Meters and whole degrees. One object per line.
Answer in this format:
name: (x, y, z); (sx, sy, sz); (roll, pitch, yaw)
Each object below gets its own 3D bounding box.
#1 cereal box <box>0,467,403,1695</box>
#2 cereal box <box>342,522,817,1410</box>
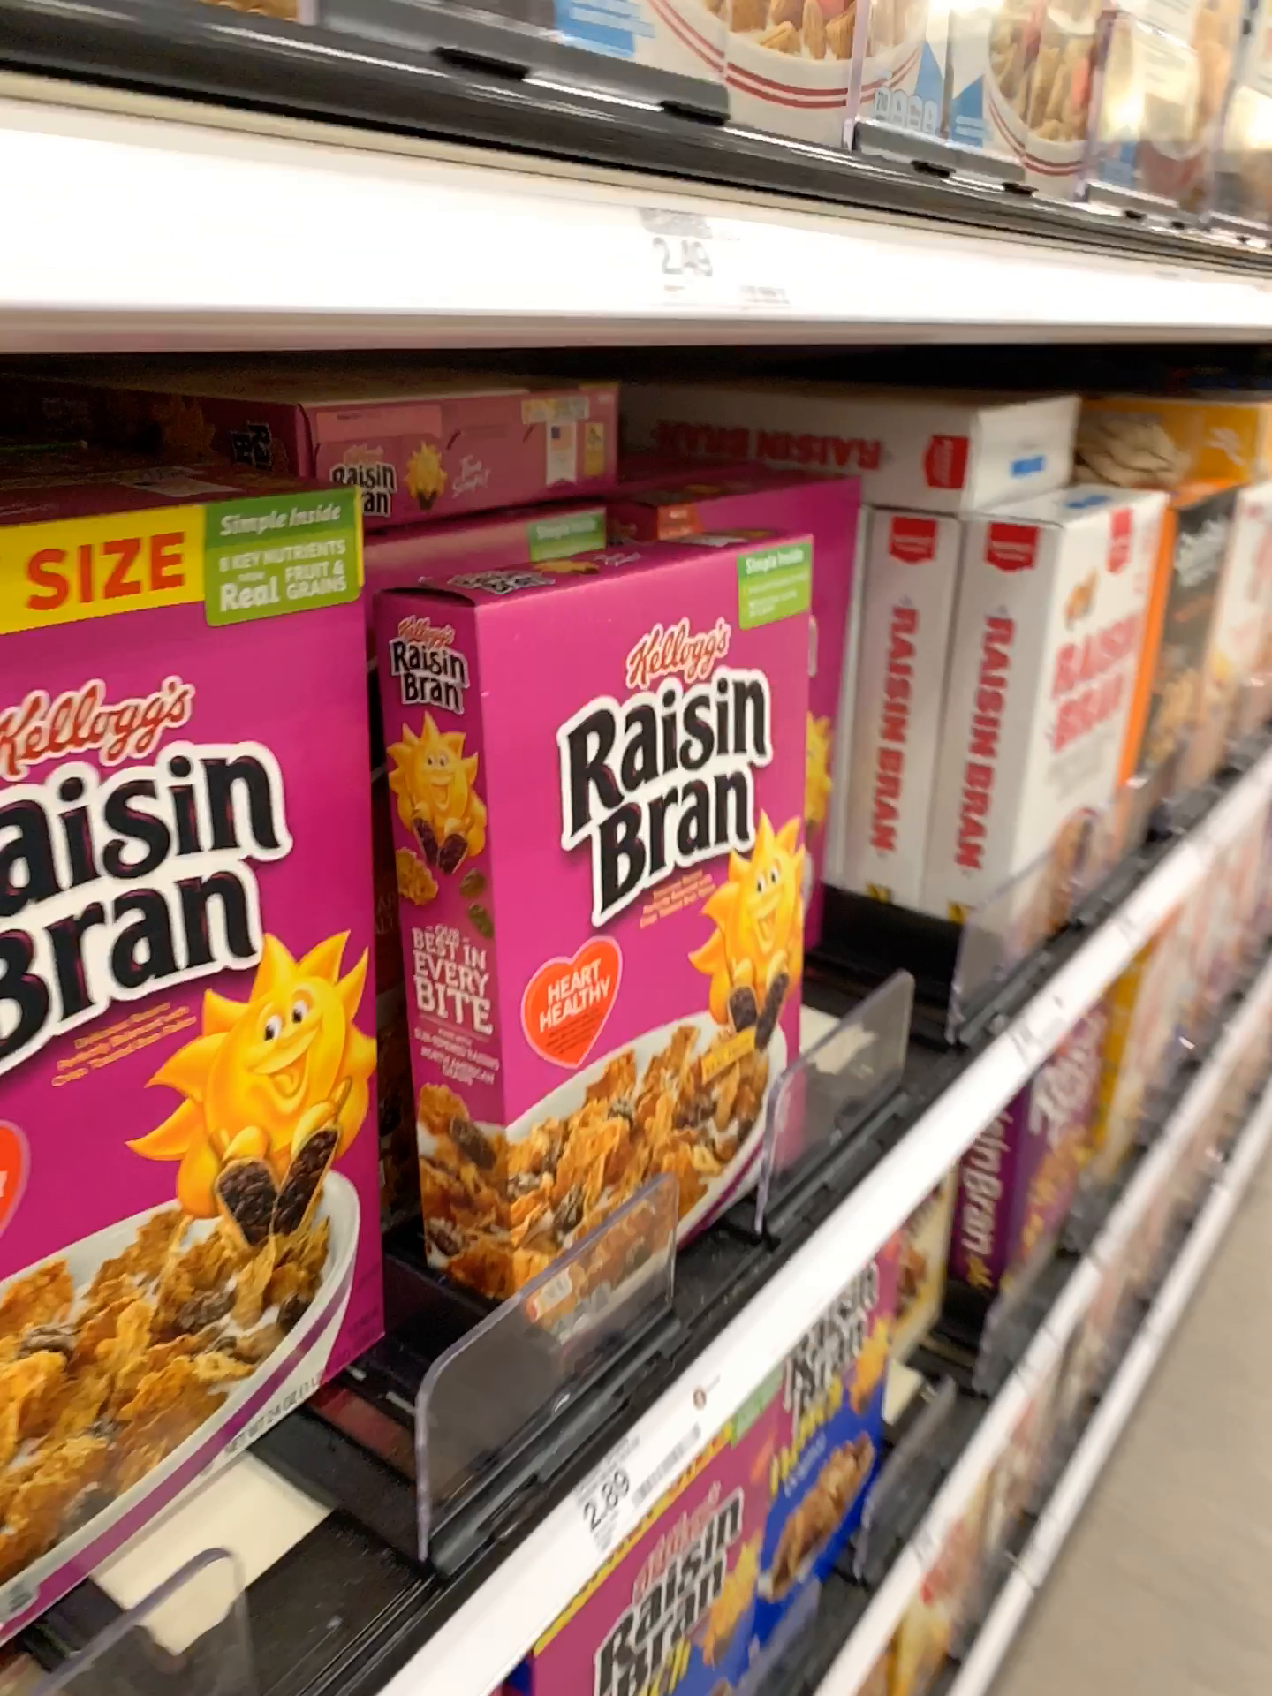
cereal box: (-0.171, 0.061, 0.362); (0.060, 0.299, 0.221); (16, 26, 32)
cereal box: (-0.006, 0.031, 0.502); (0.050, 0.279, 0.201); (13, 24, 34)
